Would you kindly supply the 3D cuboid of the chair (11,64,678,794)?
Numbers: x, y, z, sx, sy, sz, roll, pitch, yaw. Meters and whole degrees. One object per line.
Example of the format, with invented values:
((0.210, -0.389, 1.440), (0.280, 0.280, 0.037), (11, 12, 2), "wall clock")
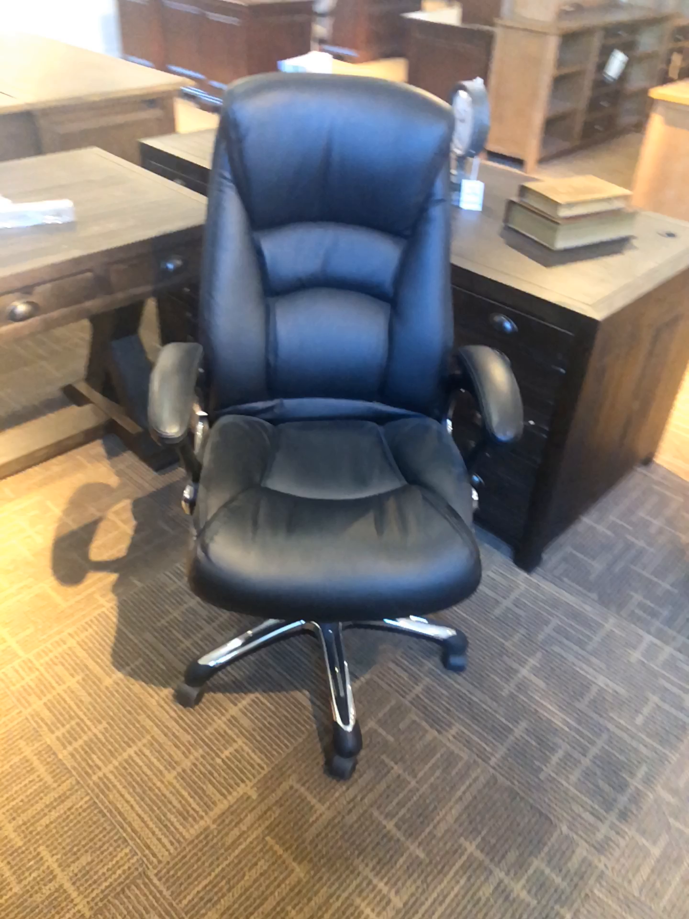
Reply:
((-0.033, -0.043, 1.431), (0.701, 1.118, 0.772), (0, 37, -4), "chair")
